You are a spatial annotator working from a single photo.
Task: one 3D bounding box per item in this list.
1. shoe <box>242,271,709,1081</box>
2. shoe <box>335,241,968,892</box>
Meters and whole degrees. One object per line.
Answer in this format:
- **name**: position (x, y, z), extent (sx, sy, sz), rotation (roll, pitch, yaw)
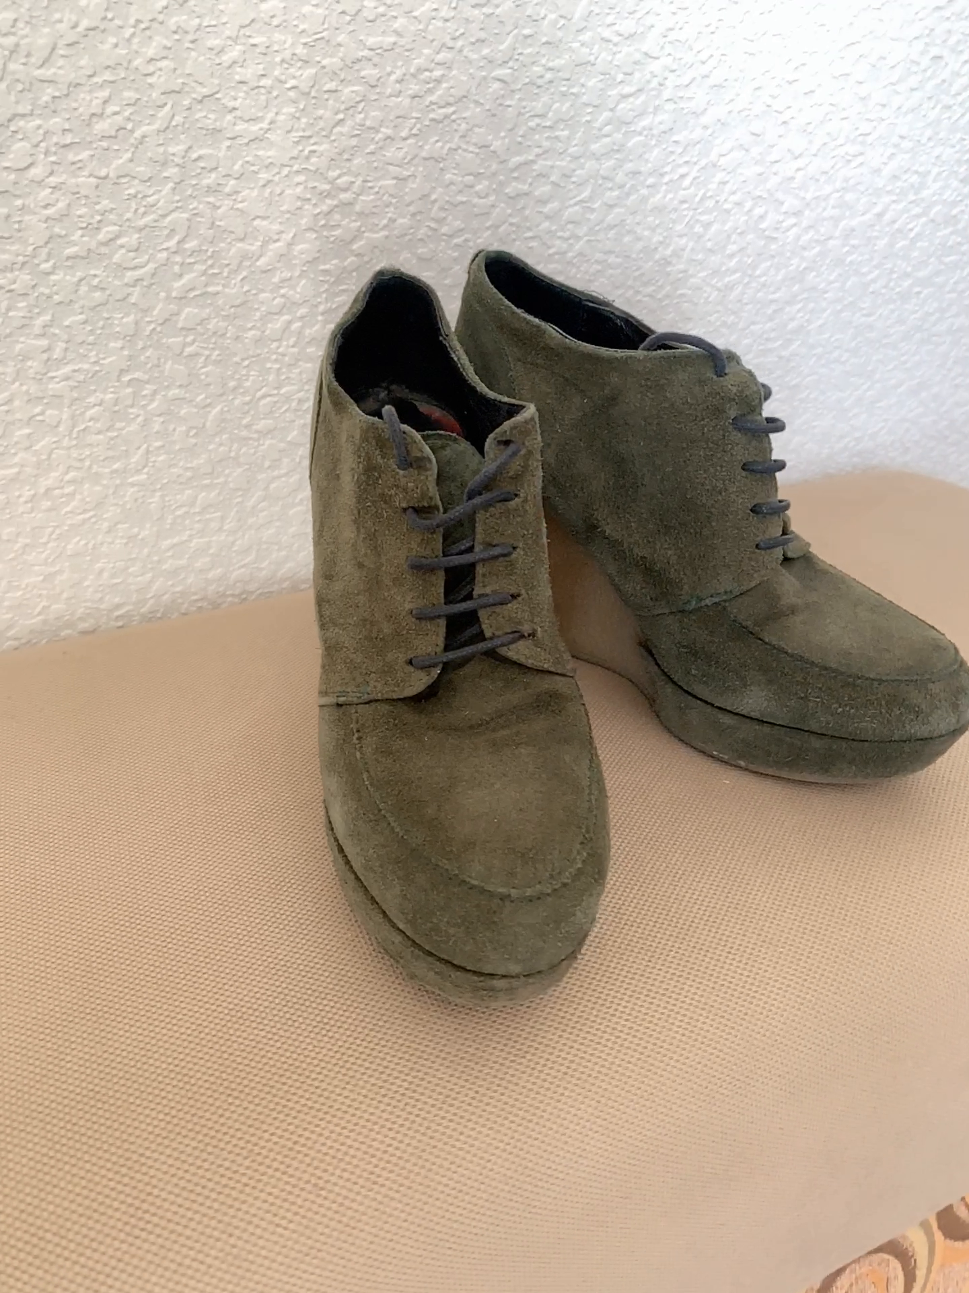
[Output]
- **shoe**: position (-0.022, -0.015, 0.314), extent (0.086, 0.136, 0.230), rotation (-5, 35, -9)
- **shoe**: position (0.062, -0.051, 0.385), extent (0.081, 0.139, 0.271), rotation (-28, 45, -36)
